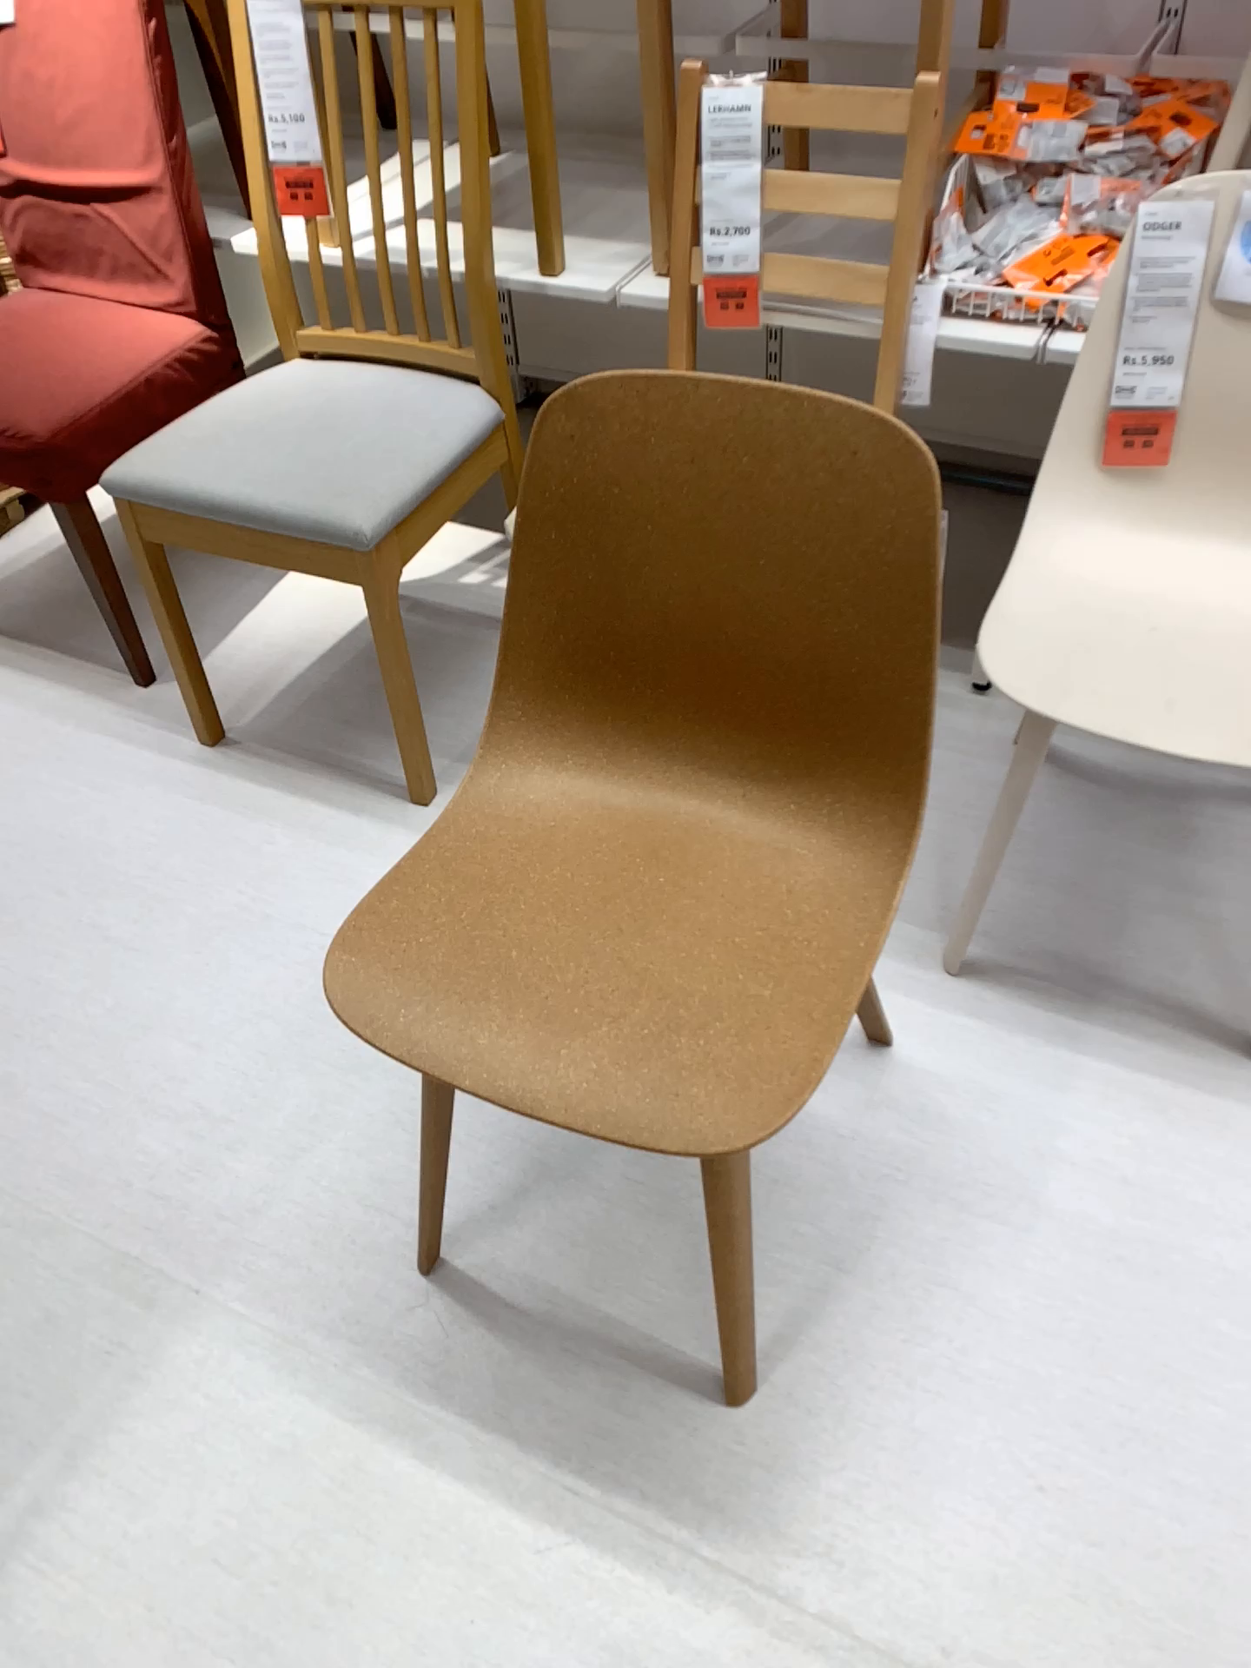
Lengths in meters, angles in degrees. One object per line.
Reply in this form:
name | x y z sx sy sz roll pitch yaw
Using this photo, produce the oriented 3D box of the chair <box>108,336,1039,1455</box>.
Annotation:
chair | 0.024 0.056 1.161 0.461 0.757 0.561 16 47 21
